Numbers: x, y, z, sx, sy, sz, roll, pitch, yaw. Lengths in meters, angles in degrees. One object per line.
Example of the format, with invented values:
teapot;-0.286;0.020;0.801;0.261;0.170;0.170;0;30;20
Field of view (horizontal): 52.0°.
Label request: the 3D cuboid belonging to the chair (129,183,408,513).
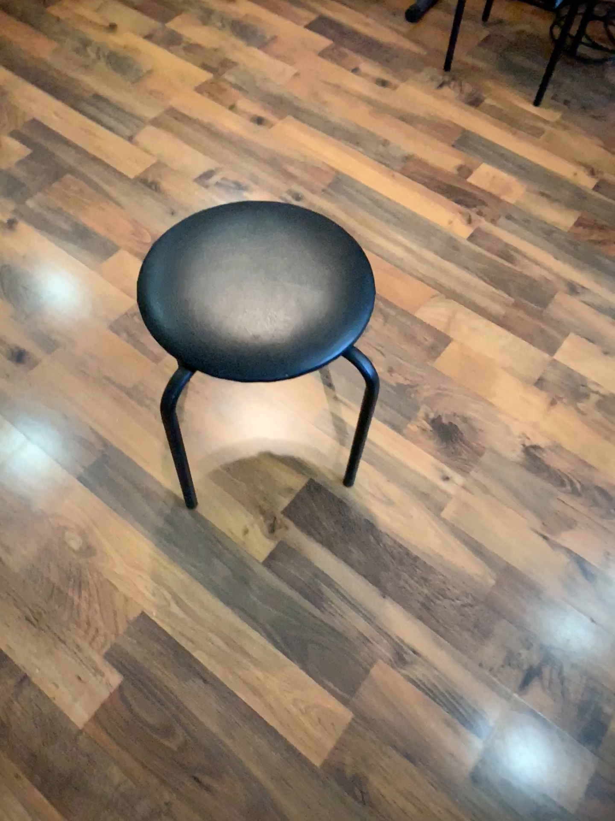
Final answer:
chair;-0.073;-0.084;1.071;0.350;0.427;0.332;-8;60;-6
